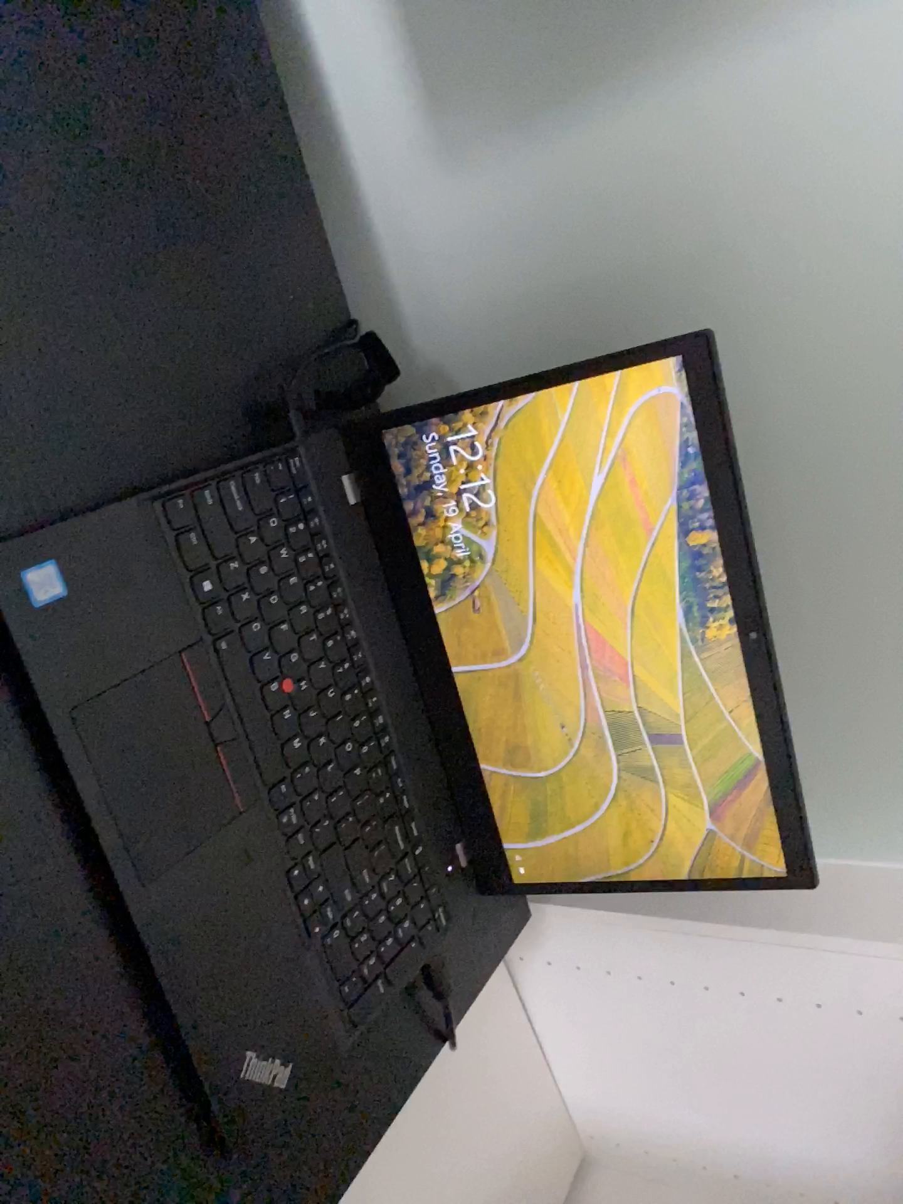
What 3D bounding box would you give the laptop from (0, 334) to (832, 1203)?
[{"bbox_3d":[0.018,0.080,0.498,0.295,0.231,0.351,-34,113,-50],"label":"laptop"}]
